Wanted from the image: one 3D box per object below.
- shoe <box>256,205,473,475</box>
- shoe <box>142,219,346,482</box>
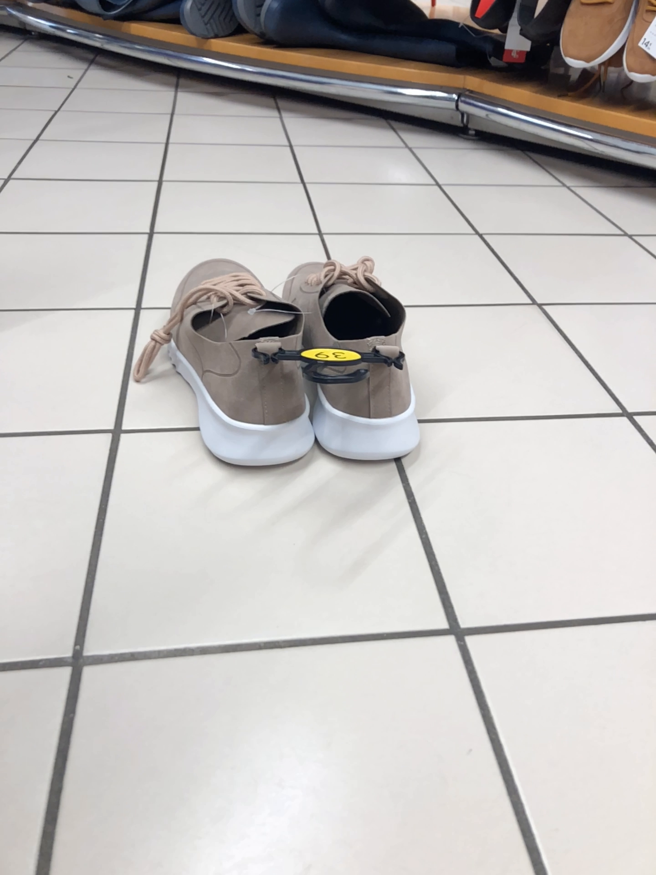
[{"bbox_3d":[0.012,-0.093,0.576,0.100,0.099,0.255,-5,37,-13],"label":"shoe"},{"bbox_3d":[-0.077,-0.084,0.560,0.100,0.079,0.259,-8,37,-16],"label":"shoe"}]
